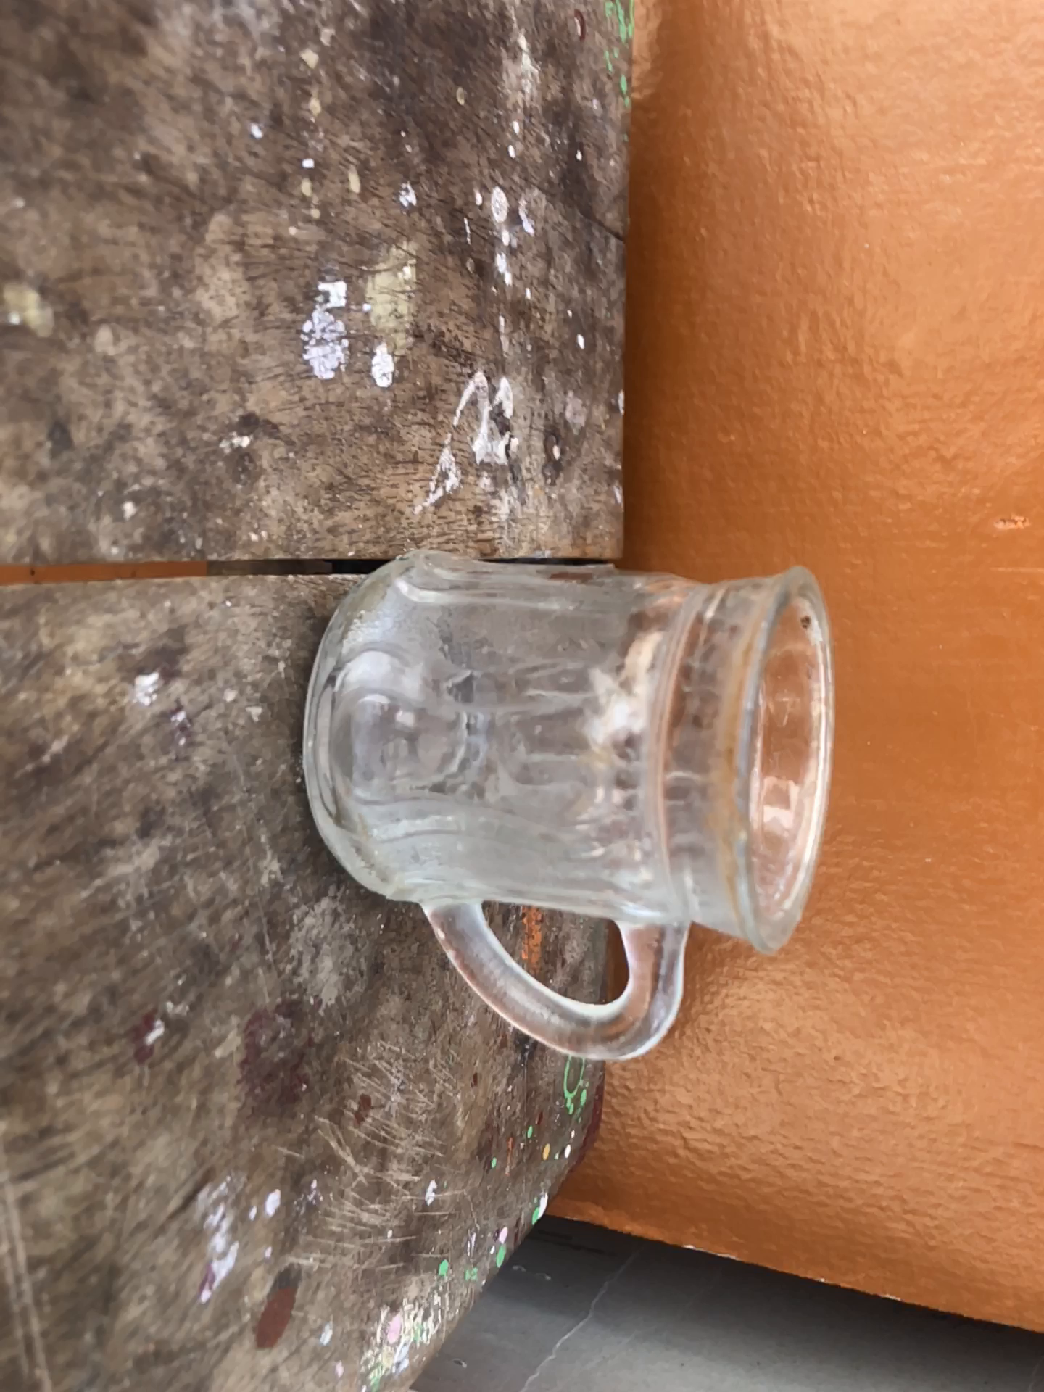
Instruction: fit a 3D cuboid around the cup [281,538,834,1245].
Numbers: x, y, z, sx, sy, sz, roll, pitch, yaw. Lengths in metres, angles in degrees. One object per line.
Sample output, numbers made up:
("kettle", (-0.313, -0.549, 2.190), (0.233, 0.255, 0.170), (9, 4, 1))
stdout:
("cup", (0.009, 0.020, 0.166), (0.050, 0.060, 0.080), (-27, 117, -63))
